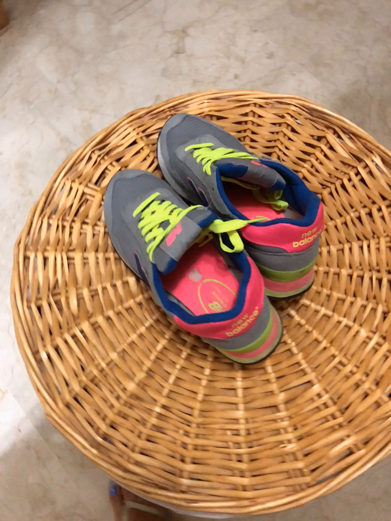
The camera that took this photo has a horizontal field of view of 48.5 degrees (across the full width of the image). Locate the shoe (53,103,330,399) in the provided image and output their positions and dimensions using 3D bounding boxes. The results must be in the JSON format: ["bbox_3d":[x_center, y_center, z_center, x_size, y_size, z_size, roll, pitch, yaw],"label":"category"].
[{"bbox_3d":[-0.010,-0.008,0.443,0.100,0.110,0.280,-37,75,-8],"label":"shoe"}]

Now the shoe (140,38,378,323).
[{"bbox_3d":[0.050,-0.082,0.455,0.100,0.110,0.260,-27,73,-10],"label":"shoe"}]
